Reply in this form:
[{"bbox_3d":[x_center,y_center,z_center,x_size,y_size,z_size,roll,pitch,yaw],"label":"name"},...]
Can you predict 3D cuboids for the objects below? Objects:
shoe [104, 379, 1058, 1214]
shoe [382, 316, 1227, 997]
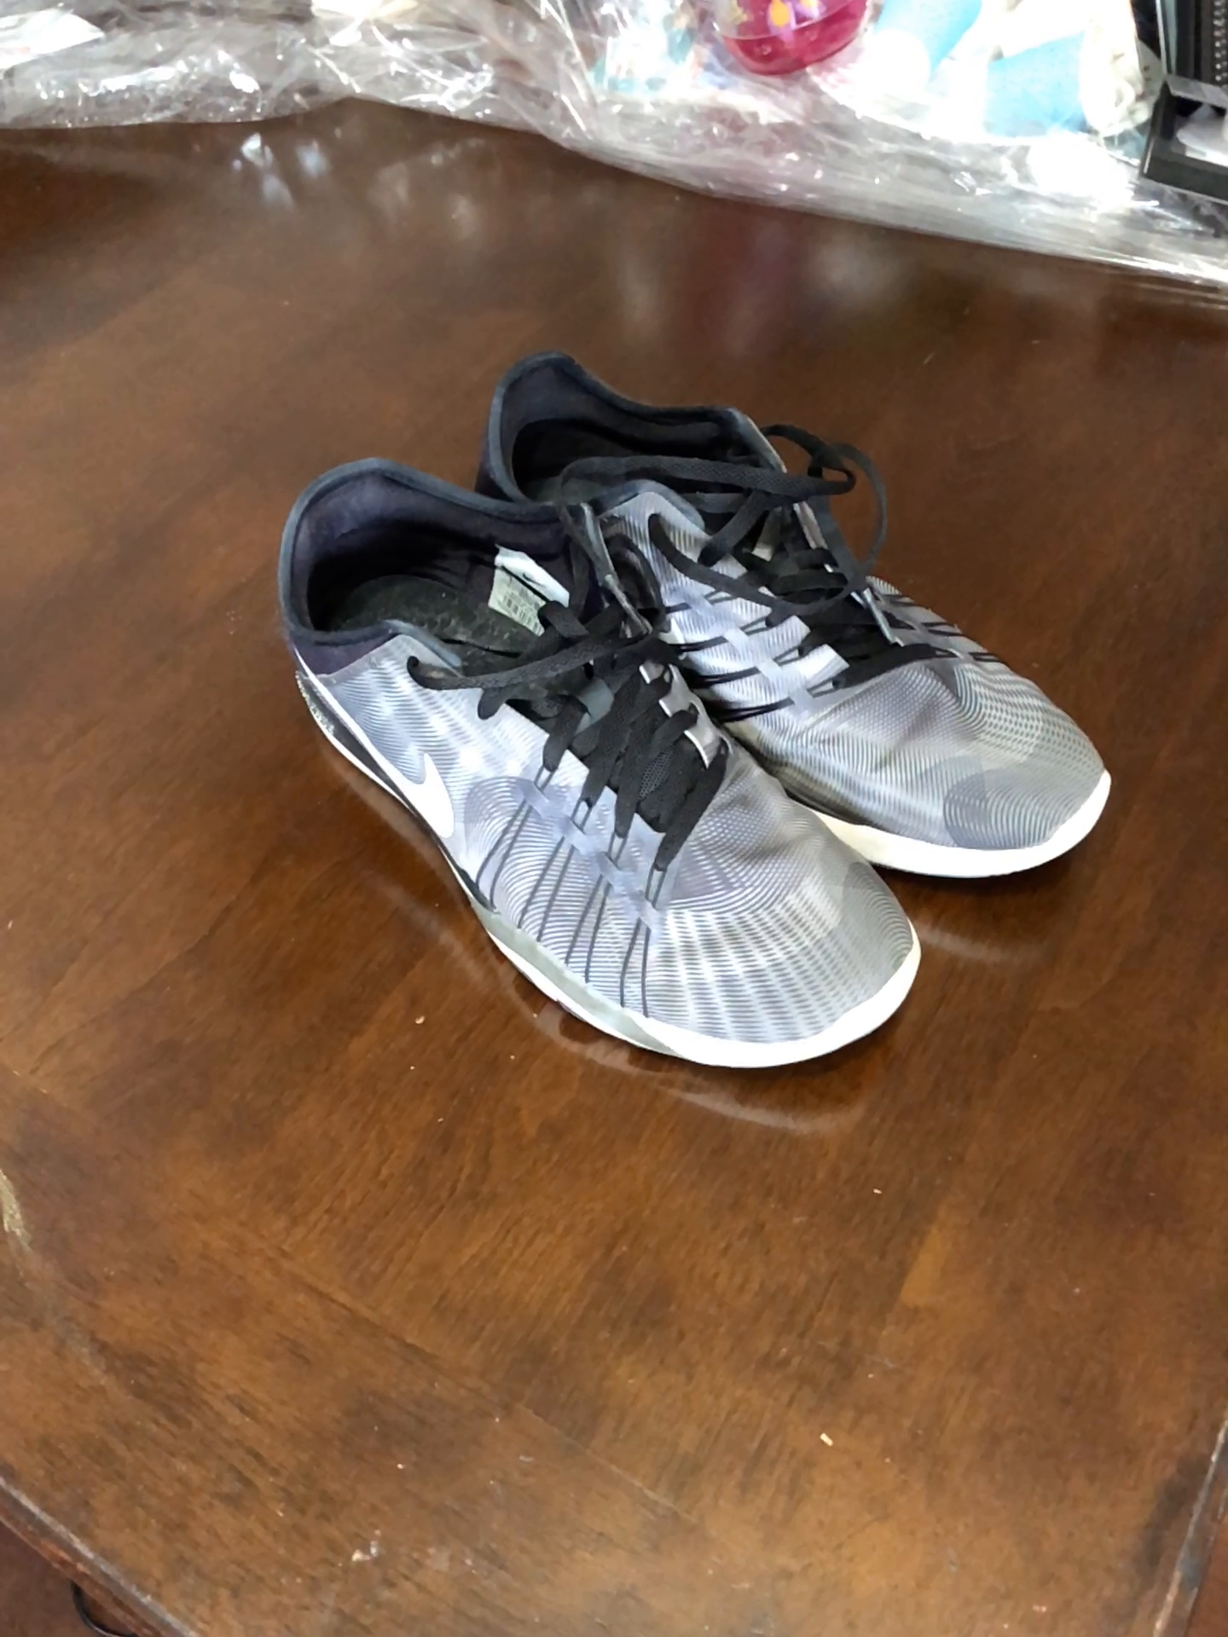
[{"bbox_3d":[-0.016,-0.018,0.373,0.230,0.090,0.100,33,59,26],"label":"shoe"},{"bbox_3d":[0.049,-0.061,0.425,0.230,0.080,0.100,33,59,26],"label":"shoe"}]
